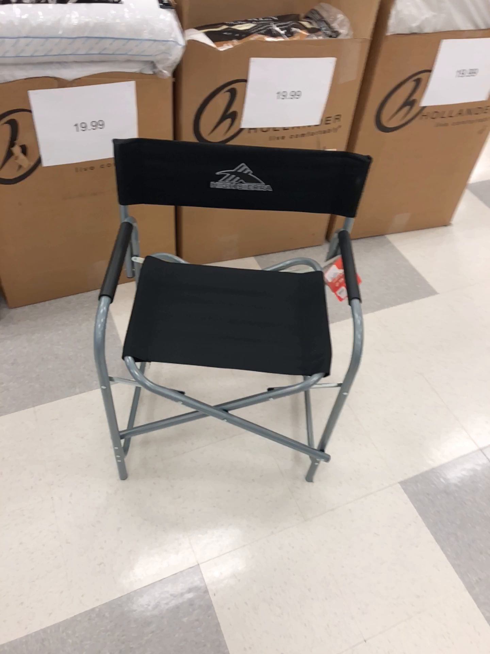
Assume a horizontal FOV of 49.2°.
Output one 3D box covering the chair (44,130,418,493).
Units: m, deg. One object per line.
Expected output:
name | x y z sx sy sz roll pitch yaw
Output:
chair | -0.045 0.002 1.329 0.624 0.736 0.500 3 47 -3
